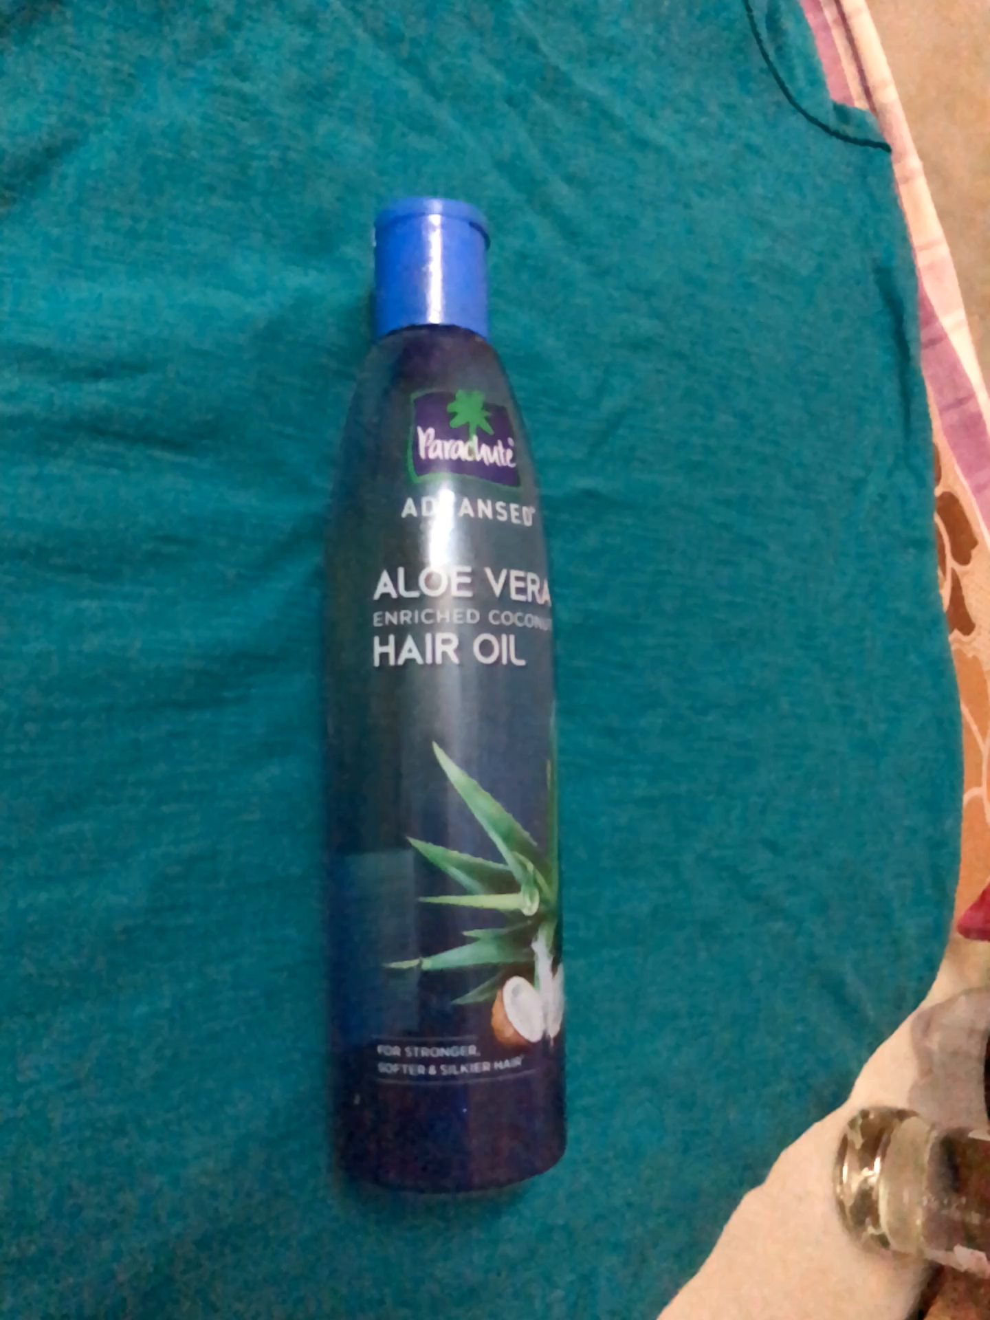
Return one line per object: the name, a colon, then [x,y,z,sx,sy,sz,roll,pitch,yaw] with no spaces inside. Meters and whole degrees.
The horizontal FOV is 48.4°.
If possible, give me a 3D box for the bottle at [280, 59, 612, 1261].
bottle: [-0.013,-0.004,0.220,0.050,0.040,0.210,2,82,-26]
